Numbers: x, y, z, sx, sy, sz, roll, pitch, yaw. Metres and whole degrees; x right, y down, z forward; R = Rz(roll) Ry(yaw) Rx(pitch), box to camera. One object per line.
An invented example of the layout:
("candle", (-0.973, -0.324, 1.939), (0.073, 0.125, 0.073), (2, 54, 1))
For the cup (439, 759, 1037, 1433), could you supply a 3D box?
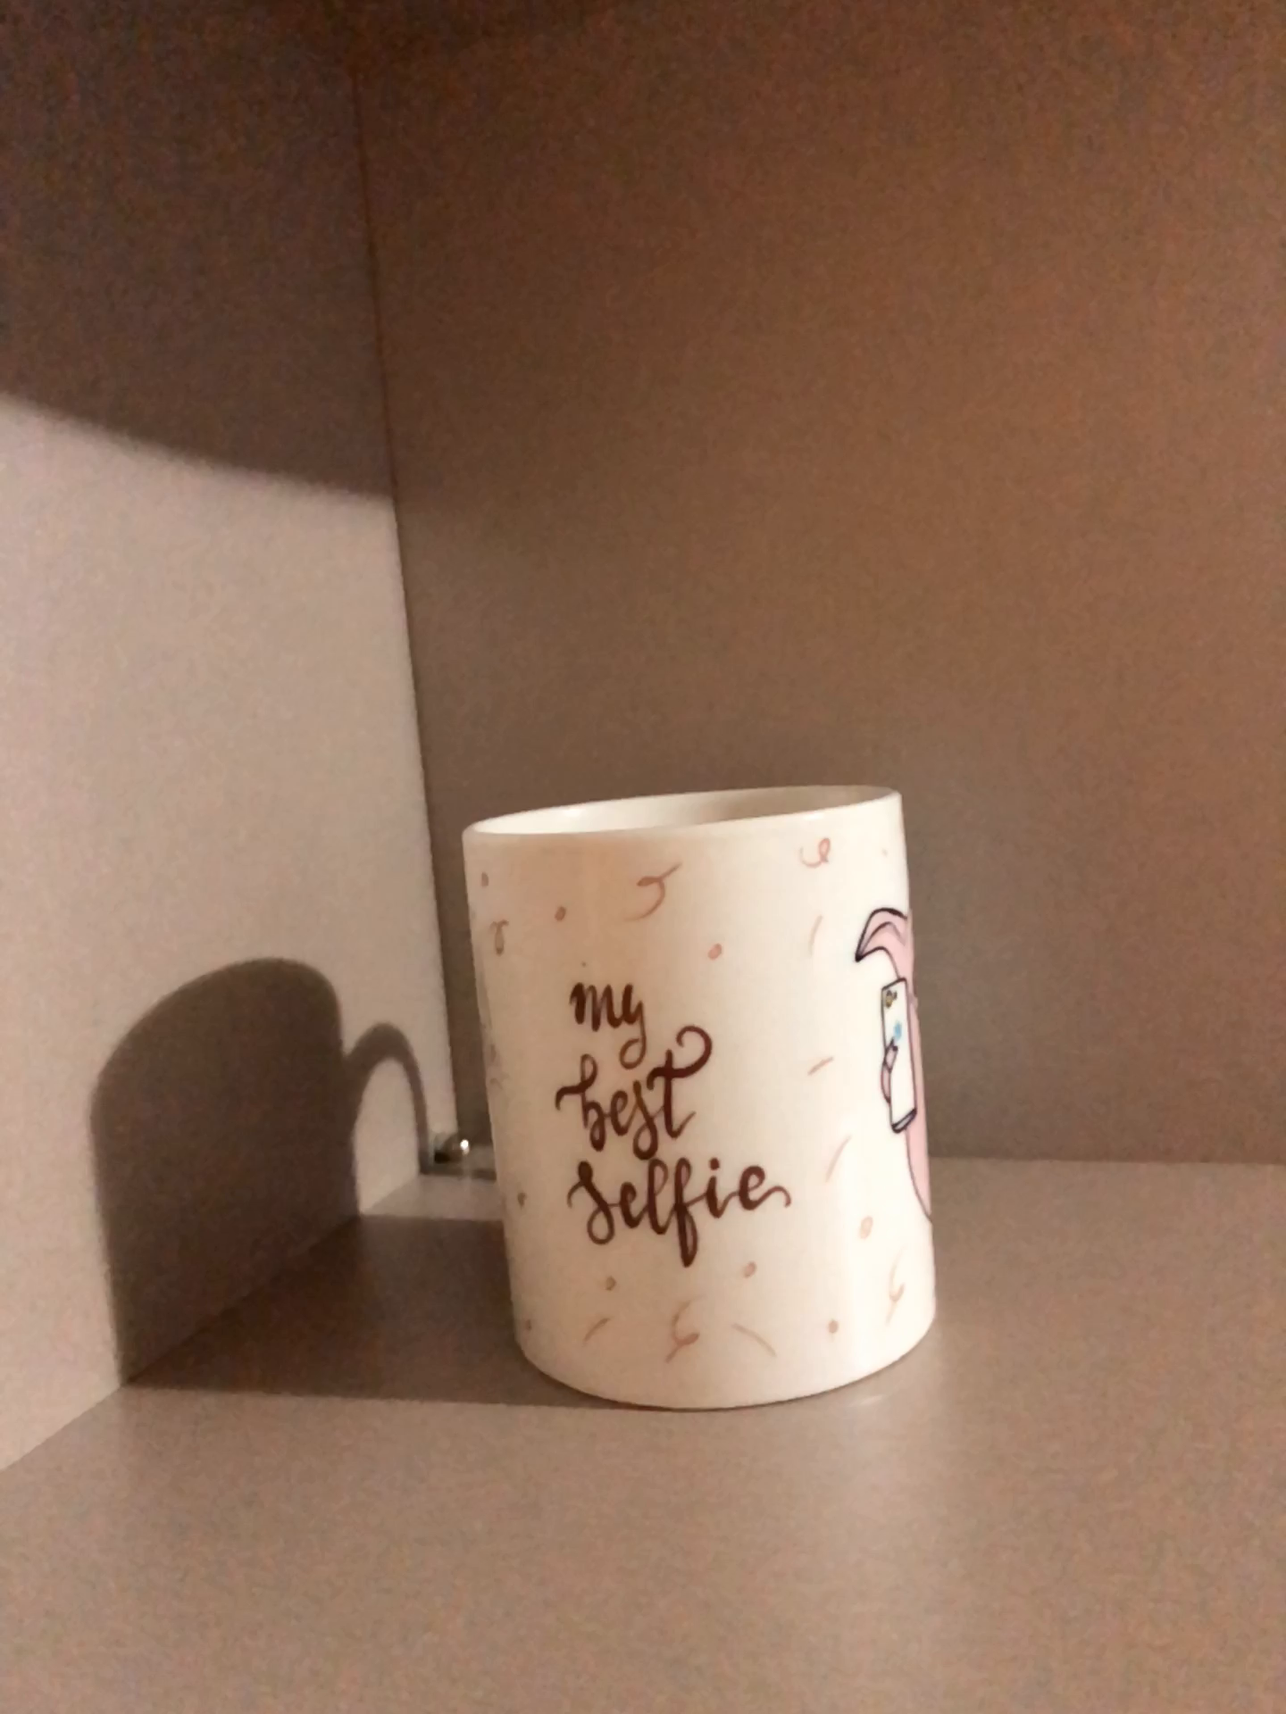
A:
("cup", (0.015, 0.034, 0.284), (0.086, 0.096, 0.119), (-5, 6, 0))
